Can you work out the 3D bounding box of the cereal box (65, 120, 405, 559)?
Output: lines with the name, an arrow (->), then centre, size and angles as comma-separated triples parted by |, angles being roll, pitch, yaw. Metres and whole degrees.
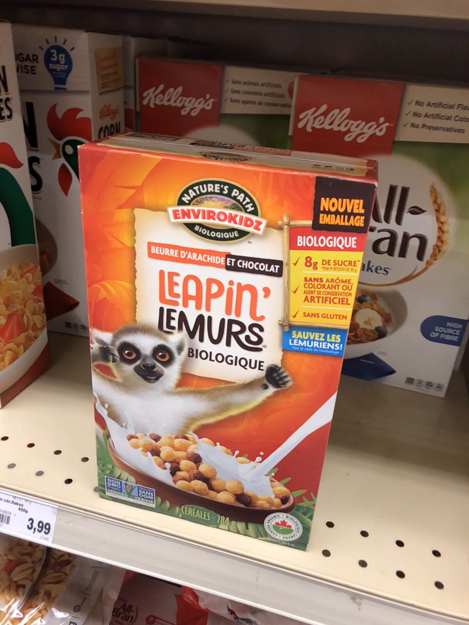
cereal box -> -0.005, 0.022, 0.339 | 0.170, 0.258, 0.070 | 10, 28, 11
